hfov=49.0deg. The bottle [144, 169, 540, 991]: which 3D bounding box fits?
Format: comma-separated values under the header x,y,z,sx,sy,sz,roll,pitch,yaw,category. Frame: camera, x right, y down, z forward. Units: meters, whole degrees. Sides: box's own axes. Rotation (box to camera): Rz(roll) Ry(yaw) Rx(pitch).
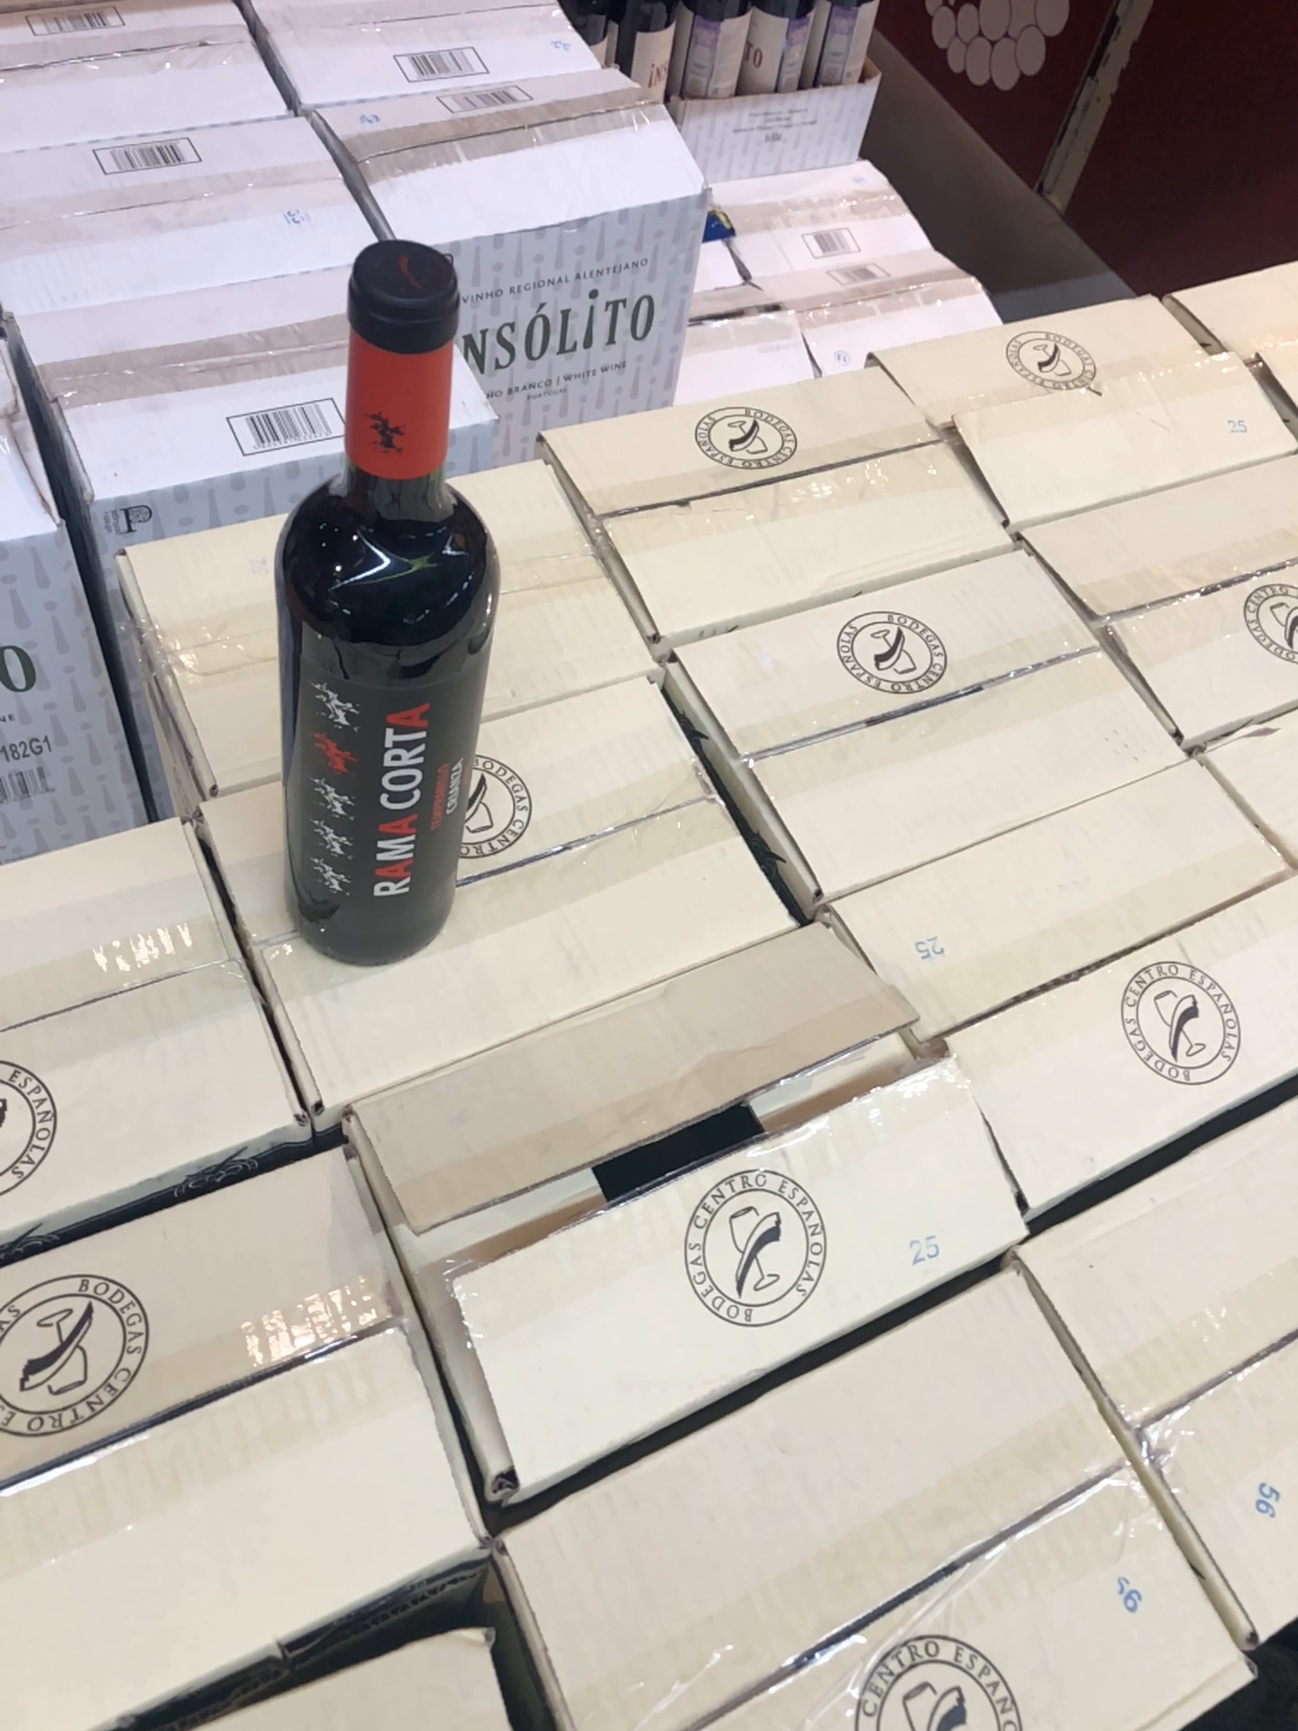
x,y,z,sx,sy,sz,roll,pitch,yaw,category
-0.097,-0.069,0.494,0.090,0.298,0.090,5,57,-7,bottle
